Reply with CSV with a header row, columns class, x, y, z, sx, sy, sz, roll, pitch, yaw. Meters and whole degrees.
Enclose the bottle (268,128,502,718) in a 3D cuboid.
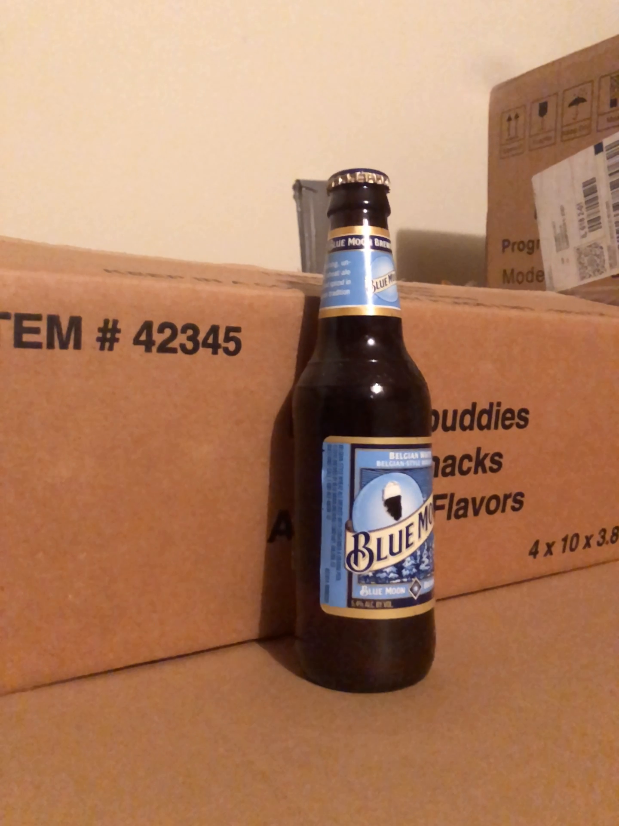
class,x,y,z,sx,sy,sz,roll,pitch,yaw
bottle,0.030,0.003,0.289,0.070,0.210,0.060,-2,5,-38
